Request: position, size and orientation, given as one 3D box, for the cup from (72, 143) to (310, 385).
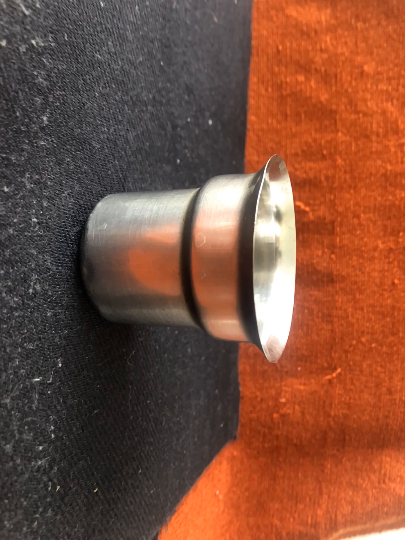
[{"bbox_3d":[0.001,-0.004,0.177,0.070,0.070,0.070,2,90,-71],"label":"cup"}]
